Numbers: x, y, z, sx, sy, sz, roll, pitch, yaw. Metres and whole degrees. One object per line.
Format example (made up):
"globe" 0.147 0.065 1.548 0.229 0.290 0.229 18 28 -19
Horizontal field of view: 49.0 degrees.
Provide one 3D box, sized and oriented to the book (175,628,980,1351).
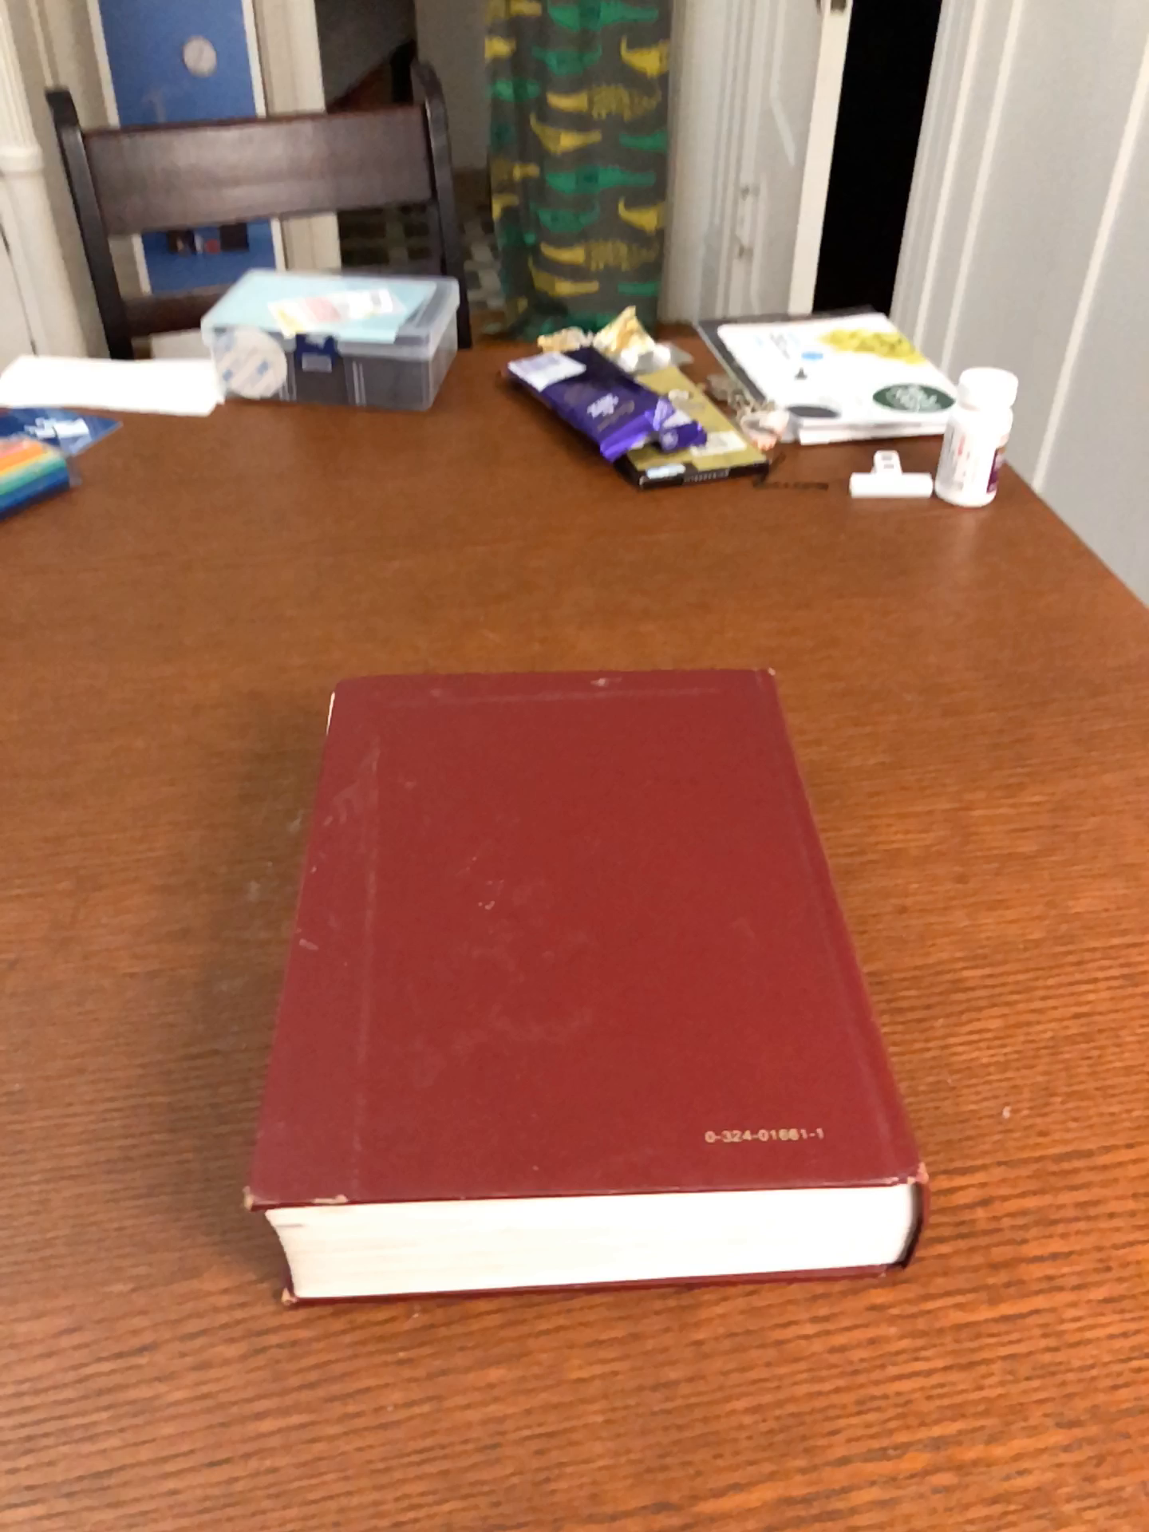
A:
"book" -0.006 0.057 0.480 0.220 0.070 0.292 -1 38 -3
